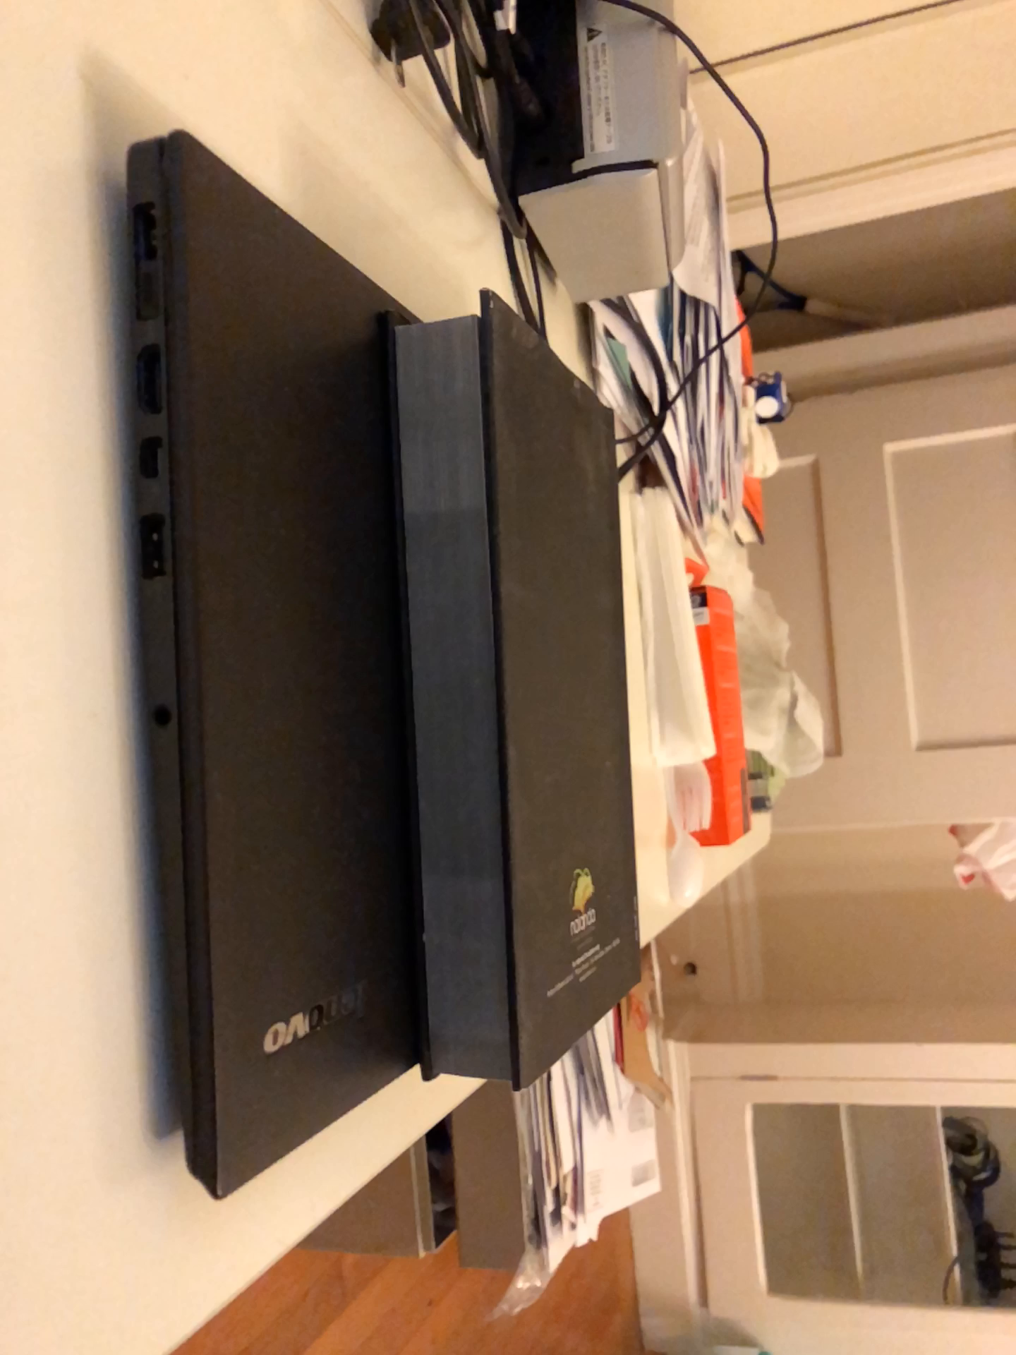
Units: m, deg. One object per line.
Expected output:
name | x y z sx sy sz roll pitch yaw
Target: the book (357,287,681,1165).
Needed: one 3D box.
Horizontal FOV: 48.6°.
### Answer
book | 0.012 0.014 0.371 0.151 0.040 0.230 5 79 -70
